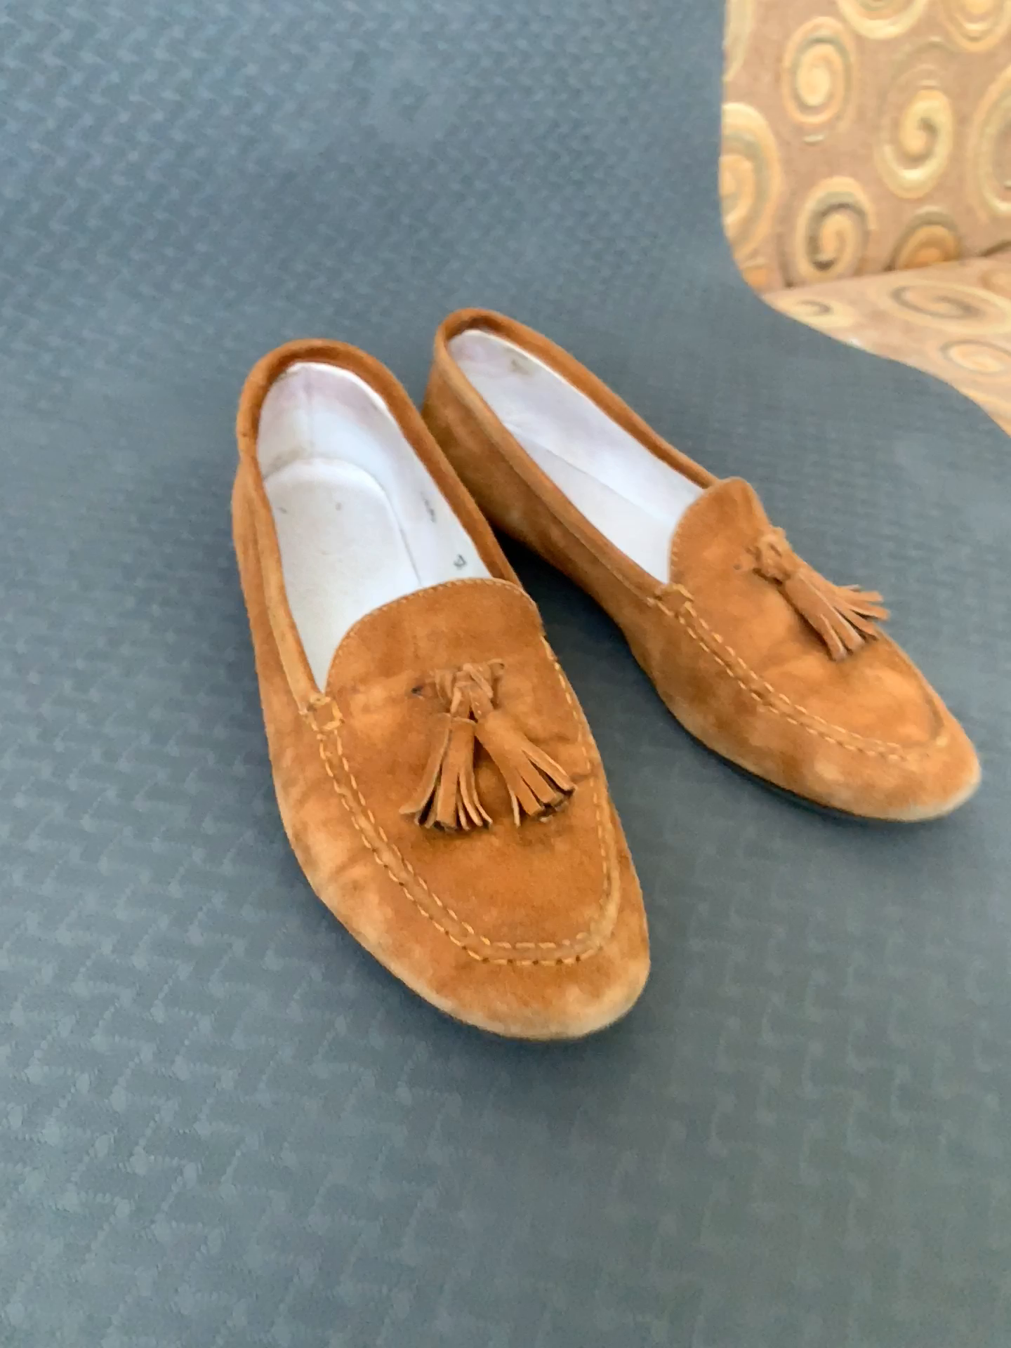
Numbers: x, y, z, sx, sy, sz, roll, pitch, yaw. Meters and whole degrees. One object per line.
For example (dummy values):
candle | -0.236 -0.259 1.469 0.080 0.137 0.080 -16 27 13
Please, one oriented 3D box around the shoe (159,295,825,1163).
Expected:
shoe | -0.026 -0.006 0.298 0.090 0.090 0.231 -12 50 -21

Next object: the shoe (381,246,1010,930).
shoe | 0.066 -0.045 0.364 0.090 0.090 0.241 -27 57 -31
